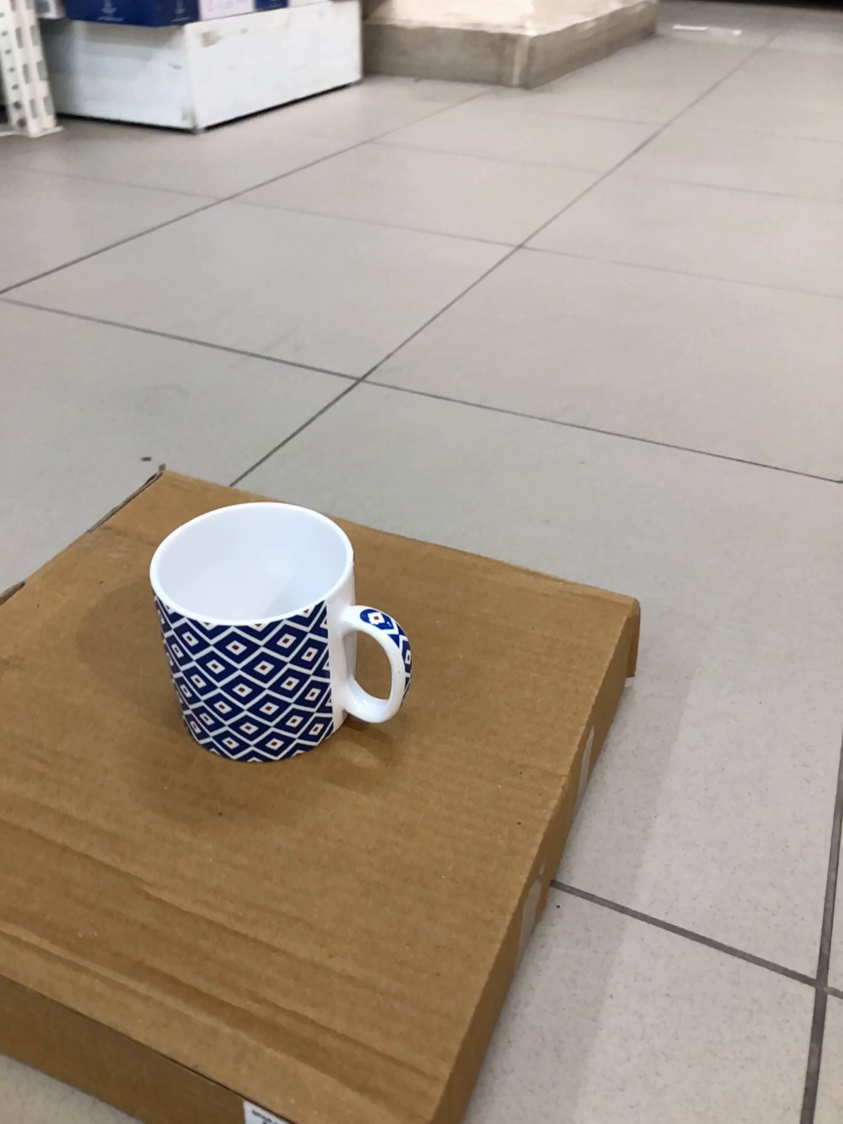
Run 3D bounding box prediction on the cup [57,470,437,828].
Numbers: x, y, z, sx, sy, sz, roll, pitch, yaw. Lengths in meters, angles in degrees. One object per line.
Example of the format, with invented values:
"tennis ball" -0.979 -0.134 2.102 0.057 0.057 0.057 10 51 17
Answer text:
"cup" -0.061 0.029 0.360 0.110 0.079 0.081 14 37 17
